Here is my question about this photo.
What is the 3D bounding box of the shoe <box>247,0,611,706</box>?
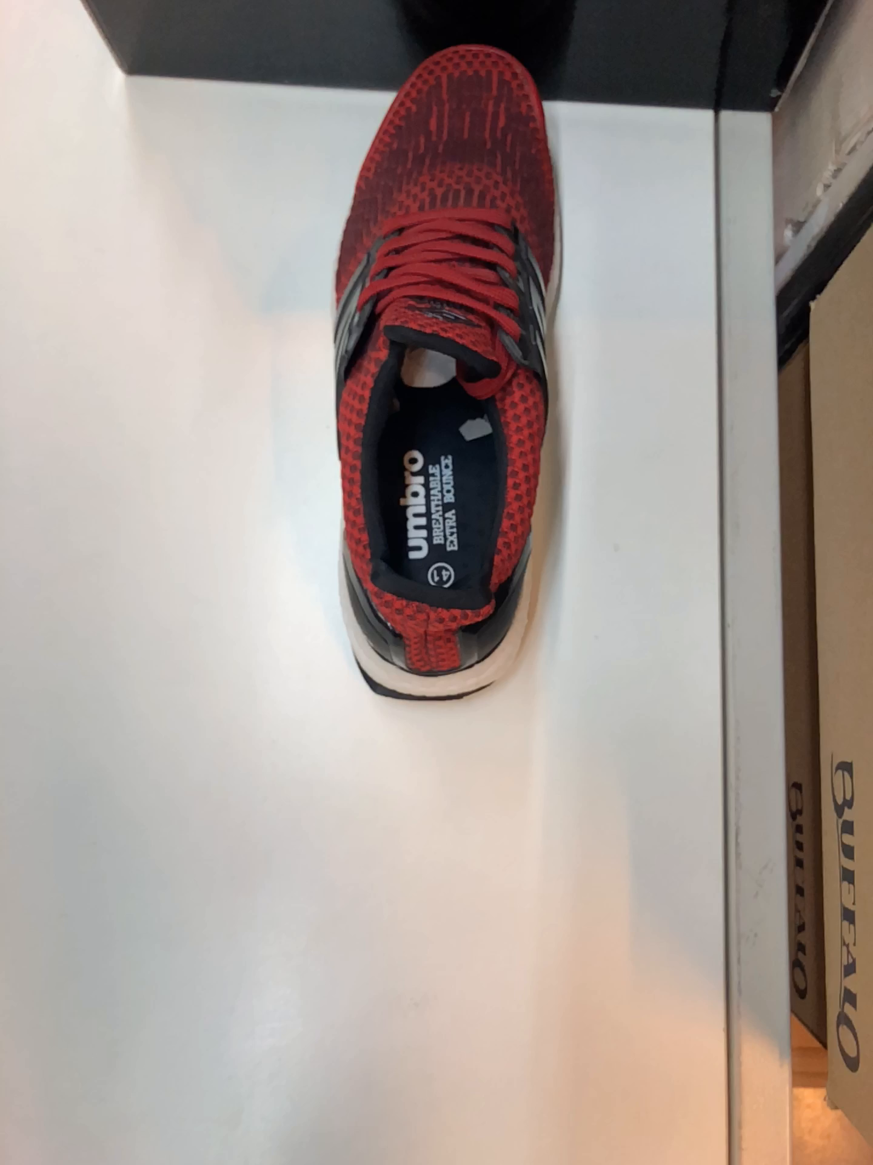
[{"bbox_3d":[0.002,-0.099,0.377,0.111,0.108,0.286,2,83,1],"label":"shoe"}]
